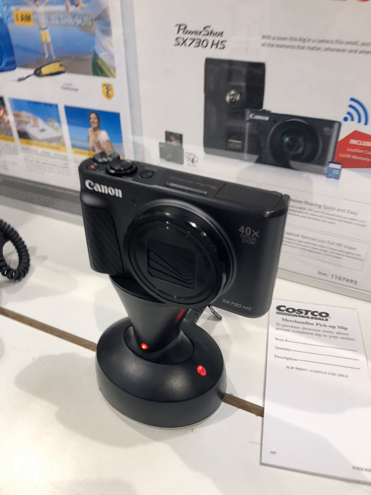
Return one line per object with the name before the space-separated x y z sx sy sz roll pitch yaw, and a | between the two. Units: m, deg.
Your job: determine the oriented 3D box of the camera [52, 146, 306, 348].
camera | -0.006 -0.004 0.222 0.120 0.070 0.040 16 38 21
